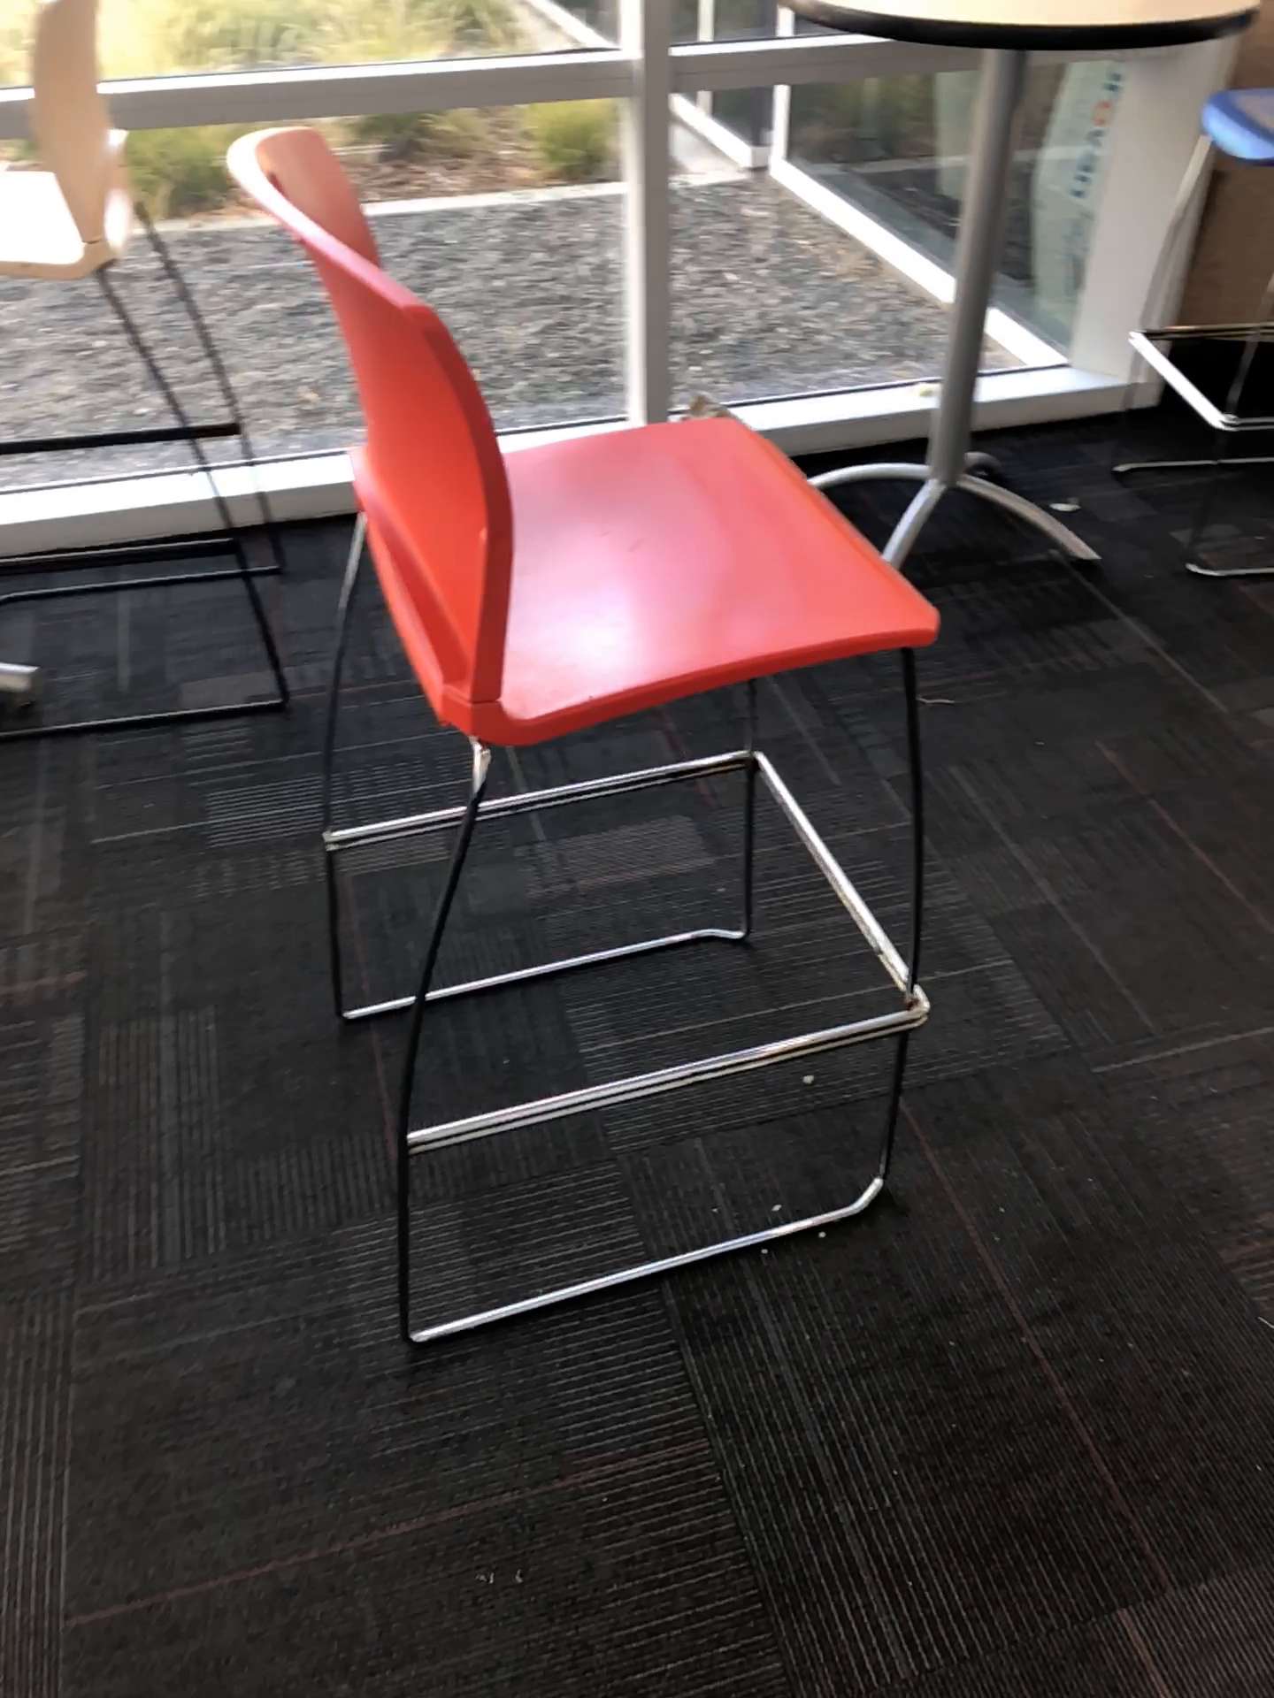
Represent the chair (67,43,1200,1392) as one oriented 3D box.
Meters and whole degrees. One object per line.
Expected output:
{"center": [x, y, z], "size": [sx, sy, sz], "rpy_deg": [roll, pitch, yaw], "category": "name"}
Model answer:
{"center": [-0.050, -0.122, 1.324], "size": [0.660, 0.995, 0.593], "rpy_deg": [-13, 40, -15], "category": "chair"}
